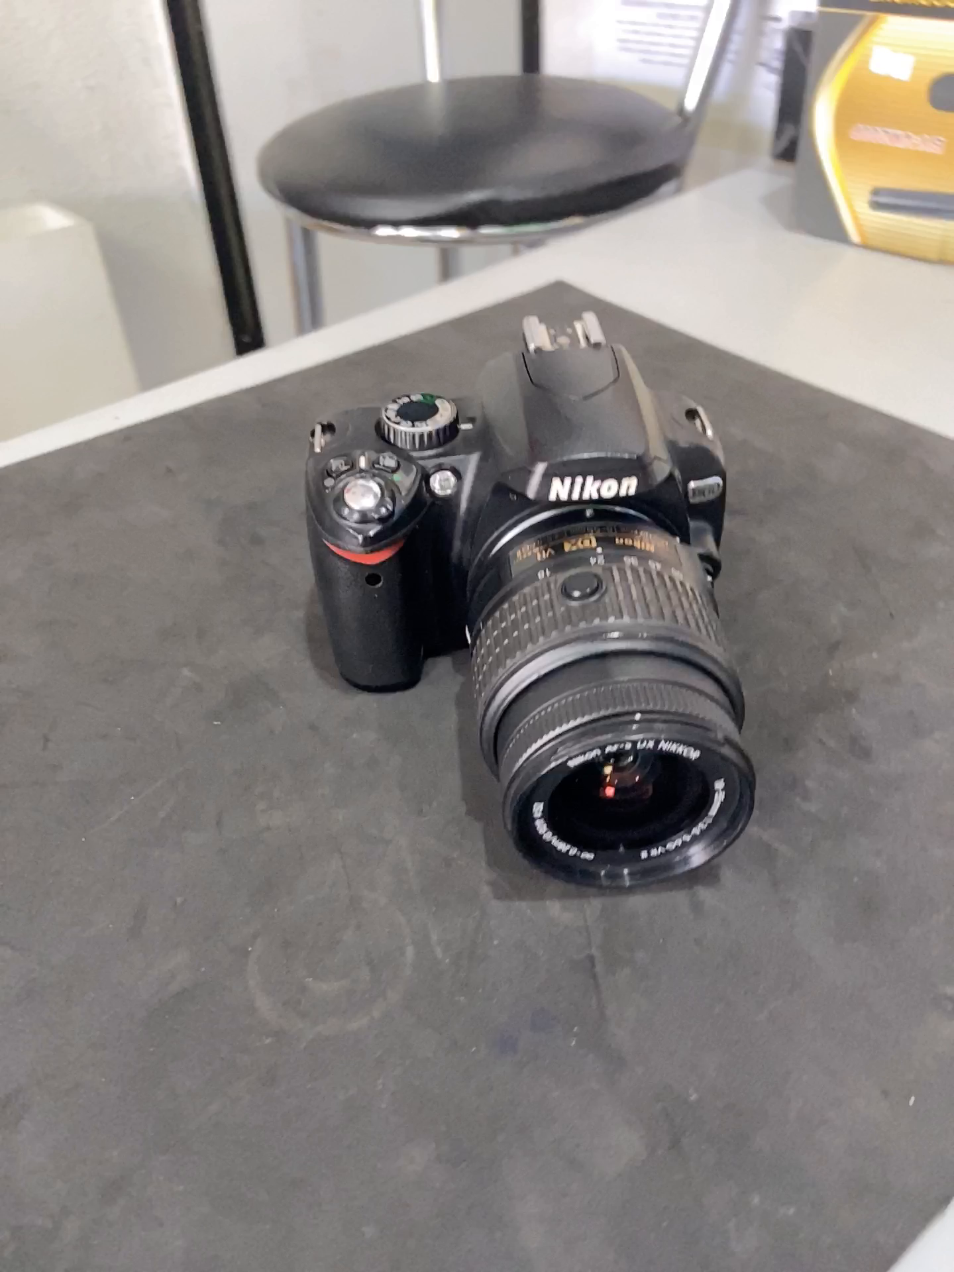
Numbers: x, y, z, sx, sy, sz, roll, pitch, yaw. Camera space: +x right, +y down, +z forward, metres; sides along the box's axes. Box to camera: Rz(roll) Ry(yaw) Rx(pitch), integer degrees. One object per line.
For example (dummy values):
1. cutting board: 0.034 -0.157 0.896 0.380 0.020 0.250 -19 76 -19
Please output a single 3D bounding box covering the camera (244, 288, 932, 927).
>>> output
1. camera: 0.017 -0.016 0.265 0.129 0.088 0.141 -6 43 -2
